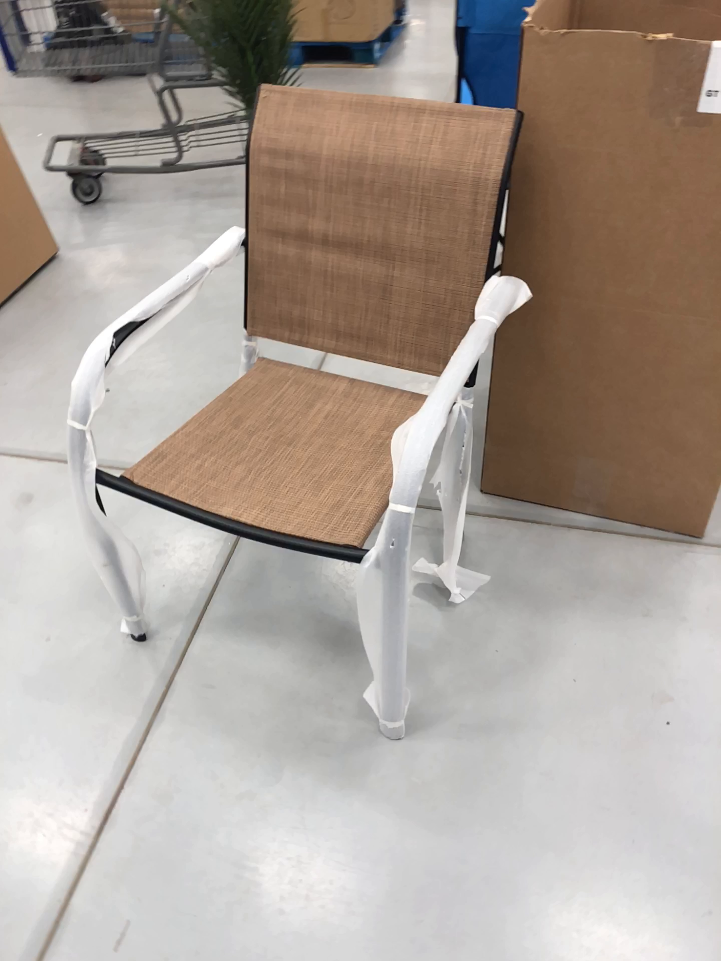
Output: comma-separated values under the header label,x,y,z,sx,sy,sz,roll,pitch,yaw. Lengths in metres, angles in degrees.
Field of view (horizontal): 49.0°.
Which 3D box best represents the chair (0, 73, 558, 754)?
label,x,y,z,sx,sy,sz,roll,pitch,yaw
chair,-0.093,-0.132,1.388,0.620,0.876,0.632,15,44,19
